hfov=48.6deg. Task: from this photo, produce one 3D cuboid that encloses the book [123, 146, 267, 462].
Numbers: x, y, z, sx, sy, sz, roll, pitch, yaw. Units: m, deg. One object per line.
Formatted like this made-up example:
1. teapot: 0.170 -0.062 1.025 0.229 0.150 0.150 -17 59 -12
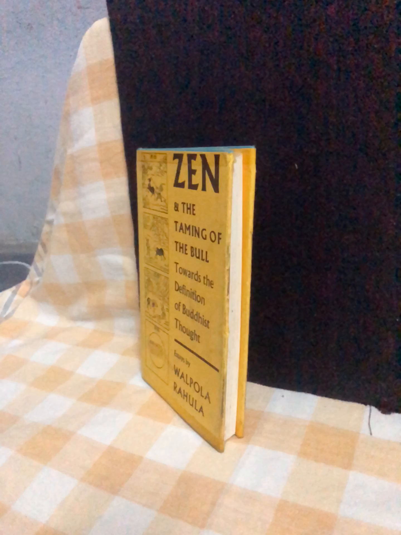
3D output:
1. book: -0.012 0.016 0.344 0.030 0.209 0.140 -10 19 -33
